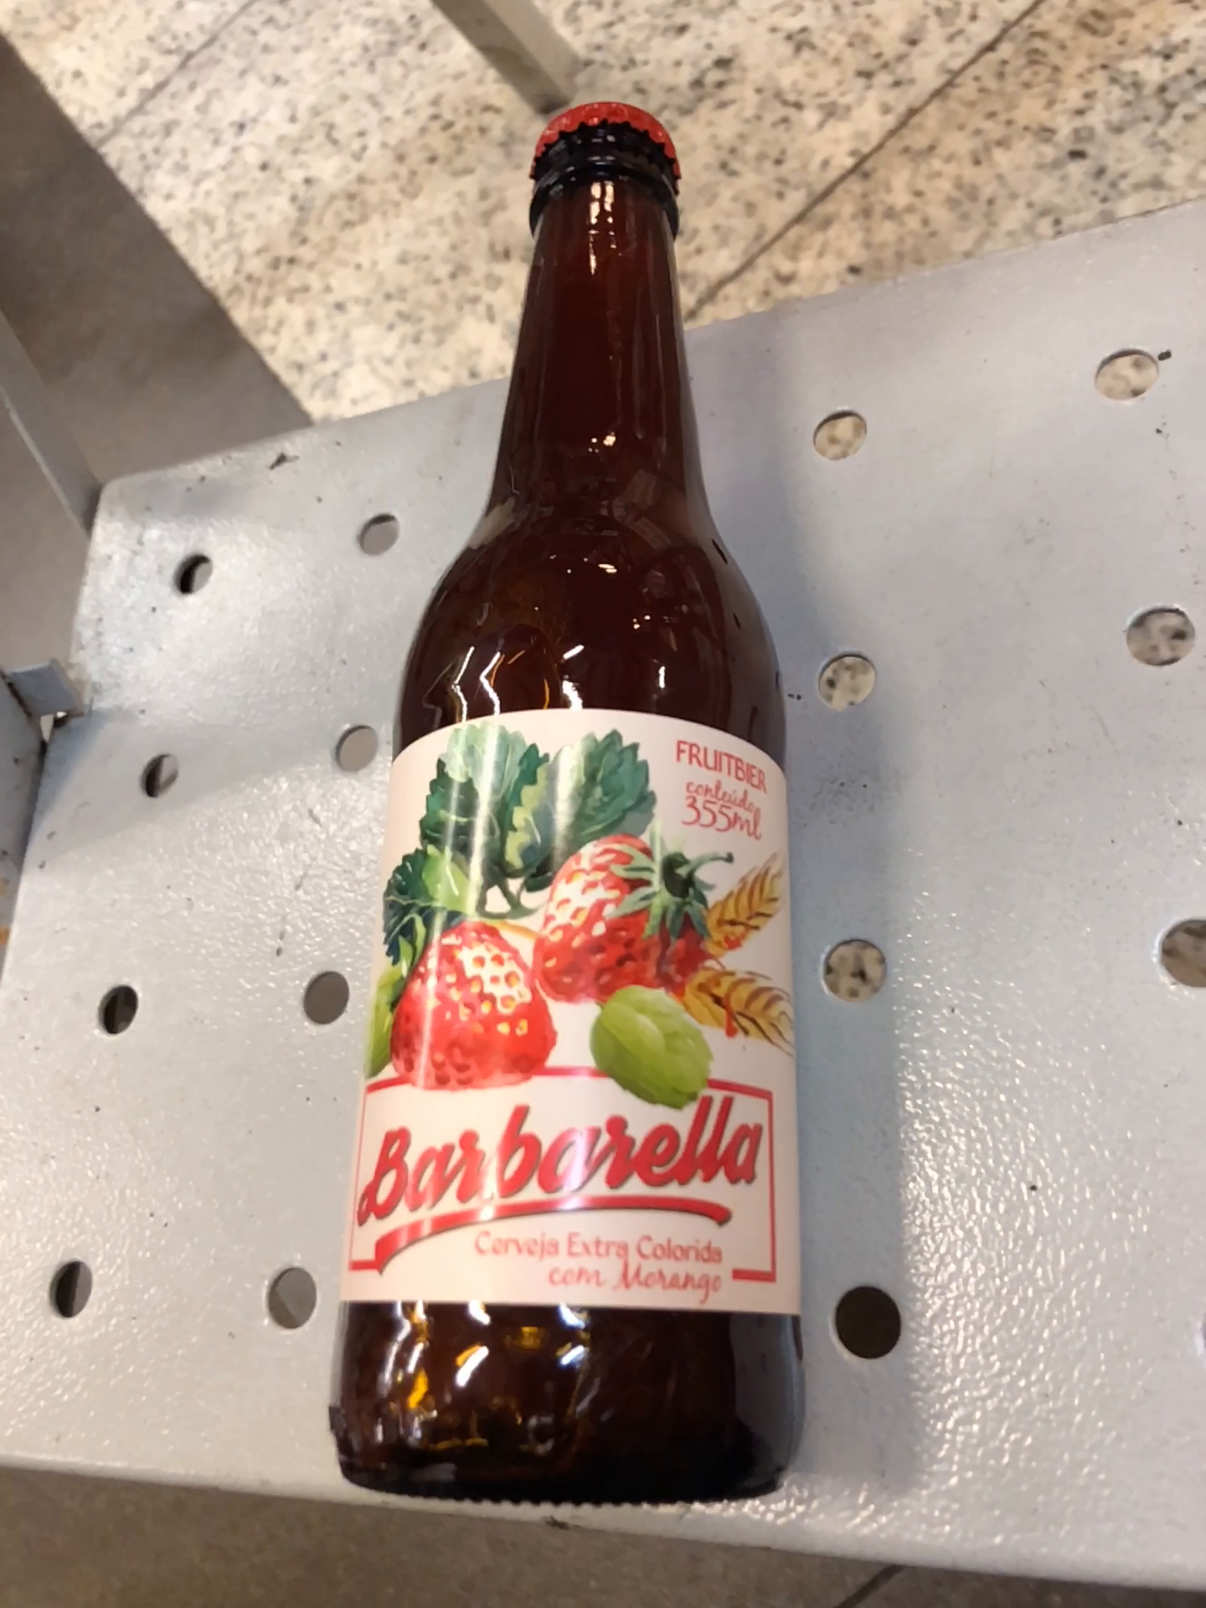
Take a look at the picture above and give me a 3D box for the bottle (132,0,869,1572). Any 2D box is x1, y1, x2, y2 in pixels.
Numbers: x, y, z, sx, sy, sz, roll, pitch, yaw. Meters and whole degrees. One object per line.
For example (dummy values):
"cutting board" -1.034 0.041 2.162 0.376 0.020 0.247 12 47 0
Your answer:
"bottle" -0.008 -0.023 0.211 0.070 0.060 0.241 -9 65 21
